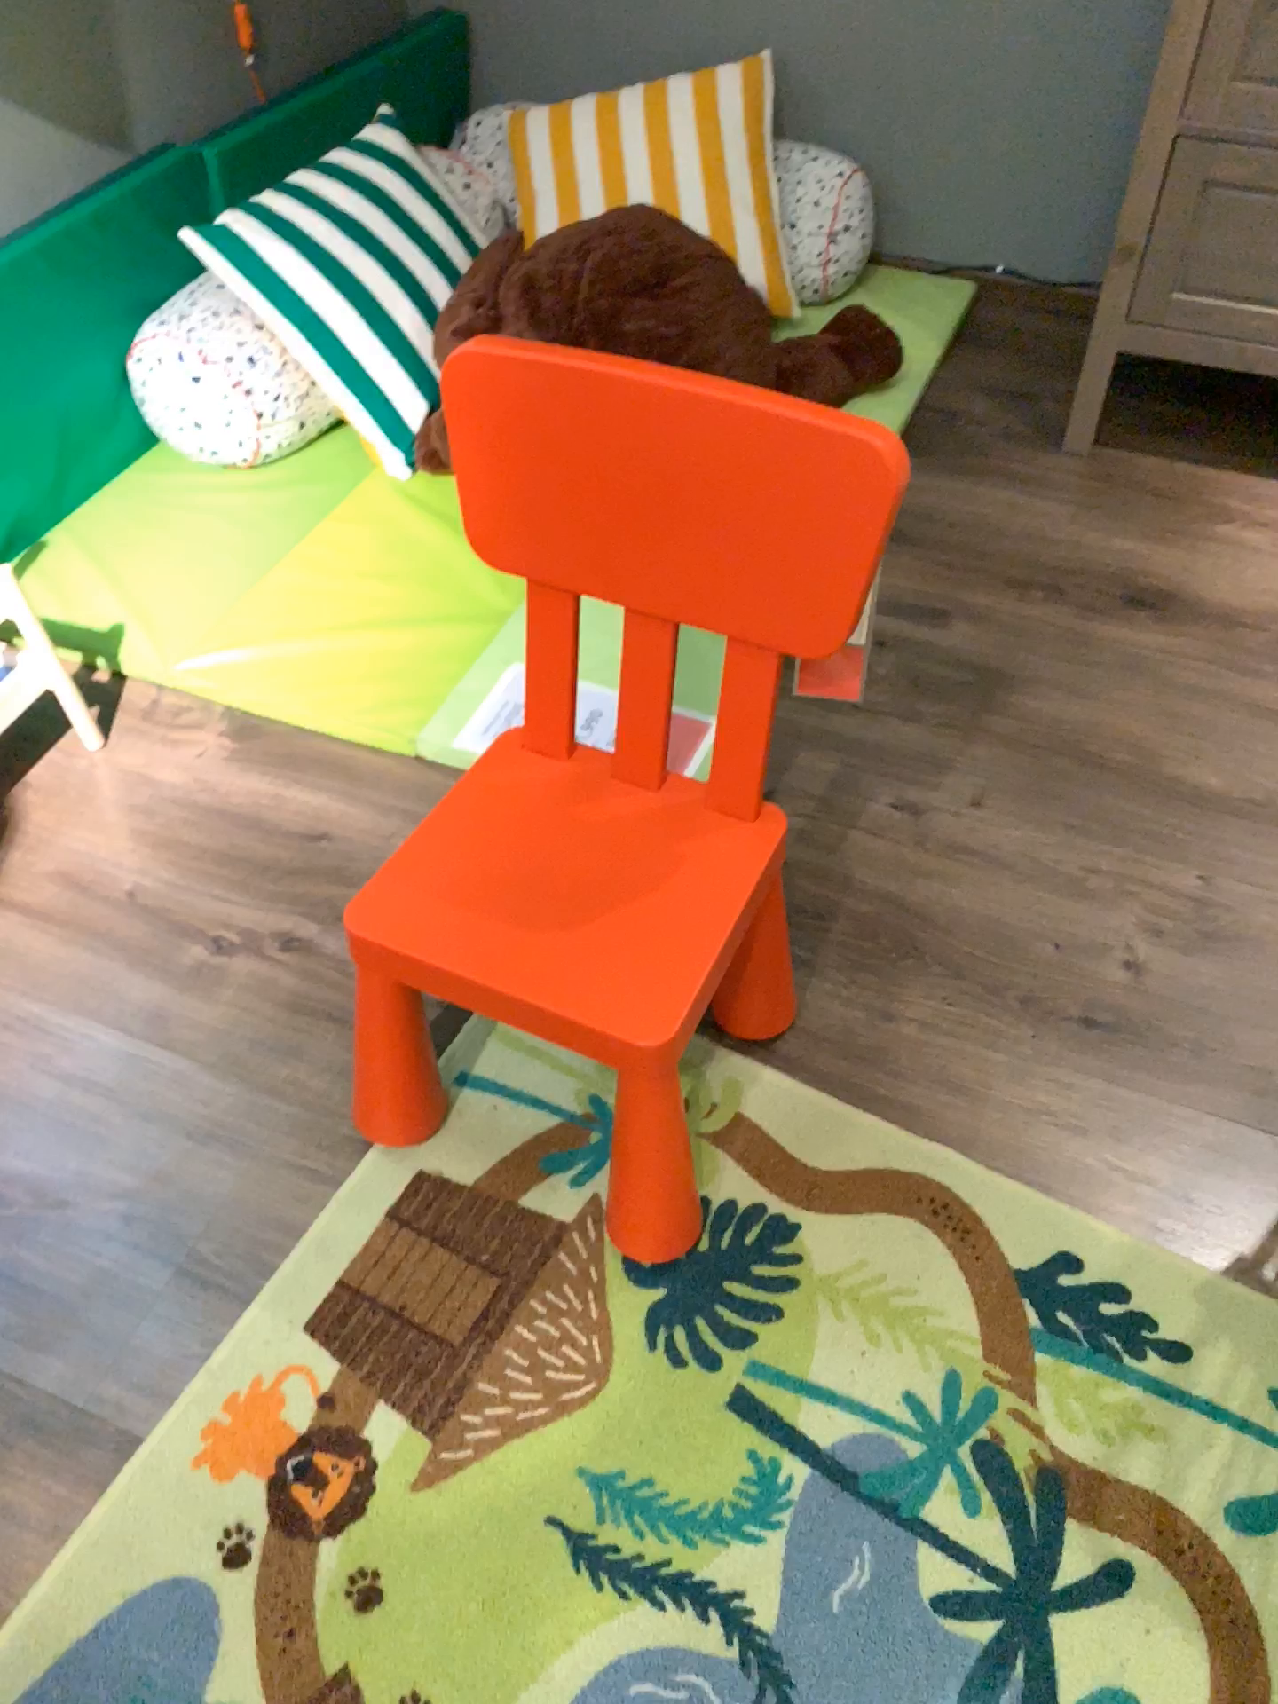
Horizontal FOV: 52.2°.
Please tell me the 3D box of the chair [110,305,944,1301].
[{"bbox_3d":[-0.048,-0.035,1.095,0.381,0.598,0.461,20,50,18],"label":"chair"}]
